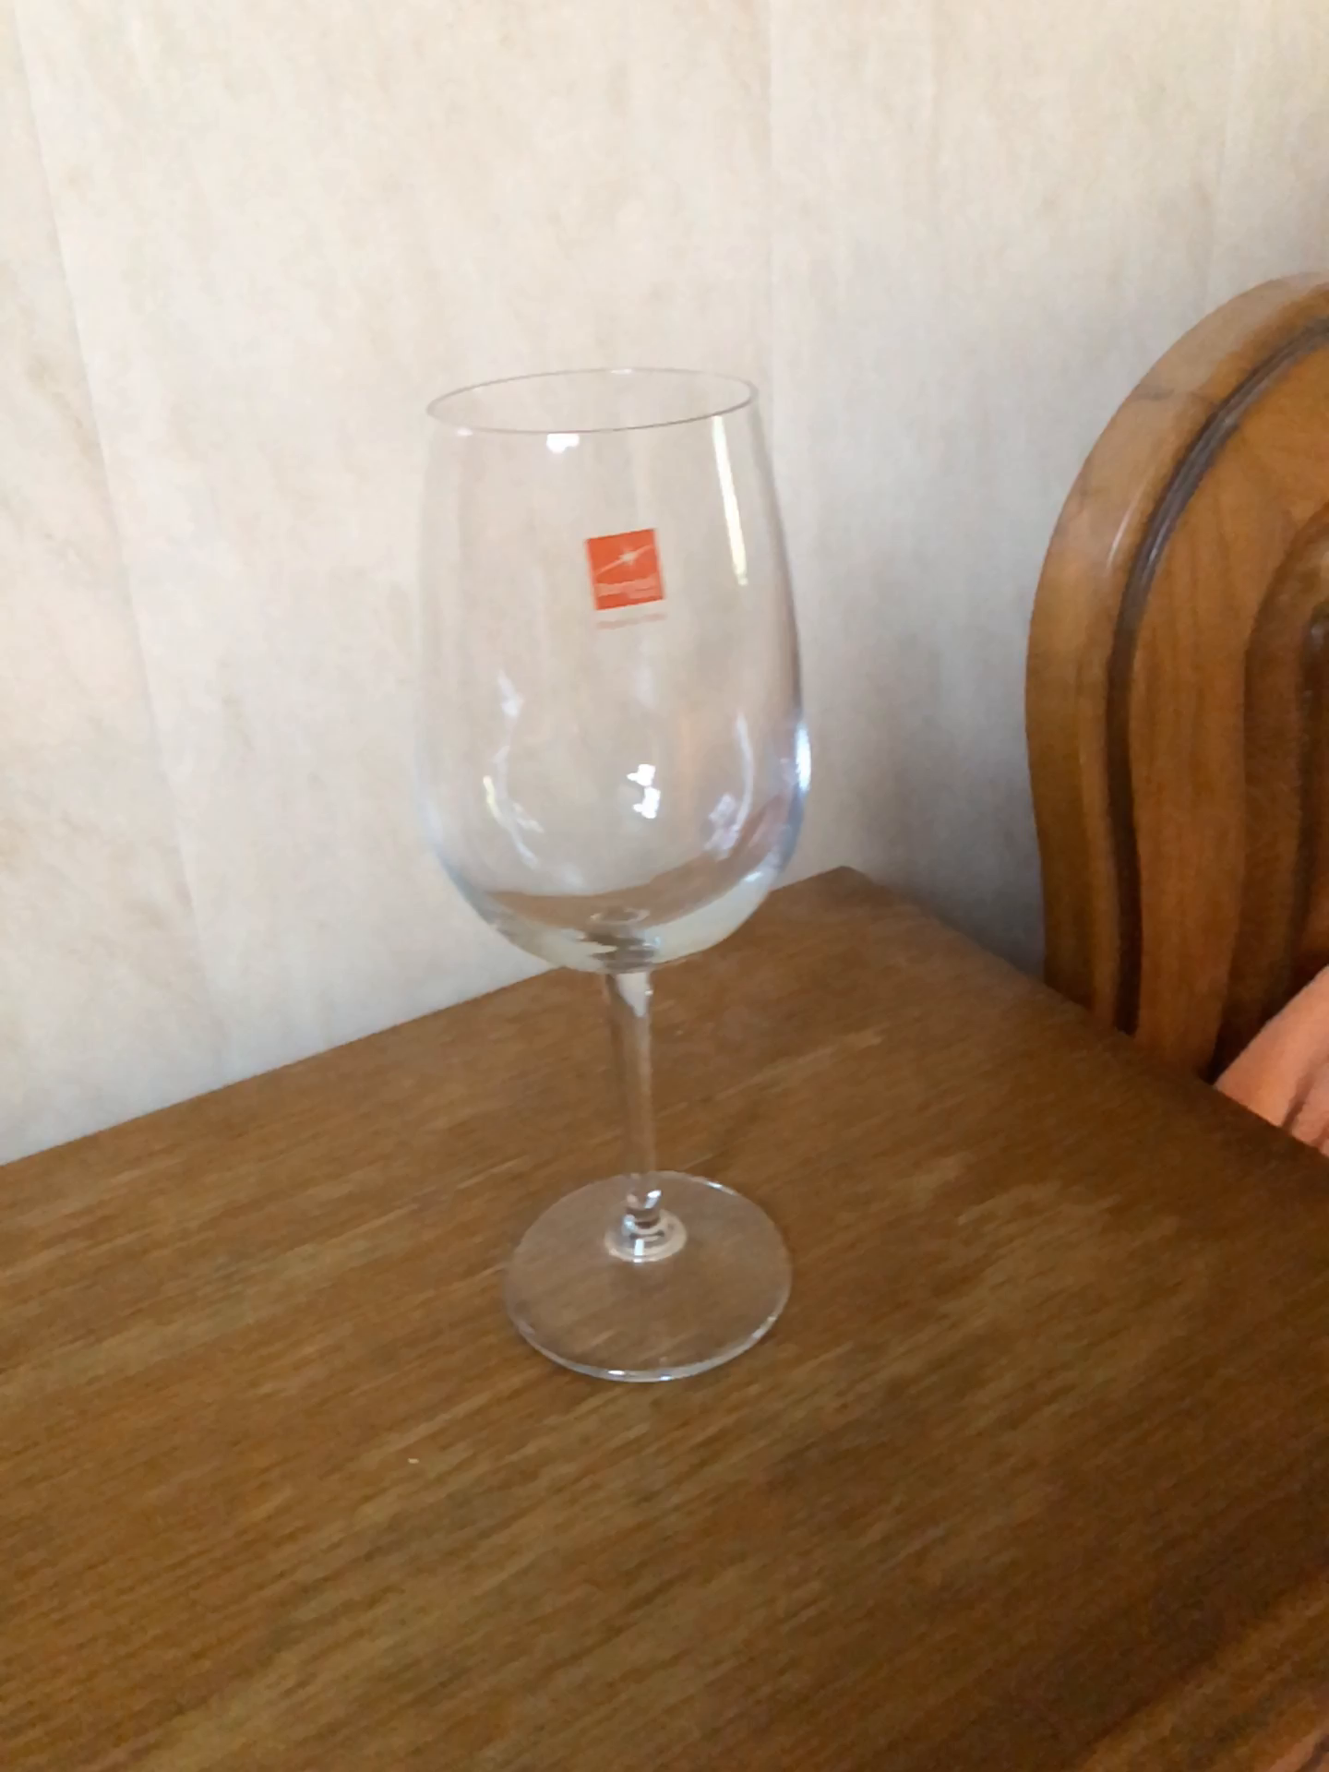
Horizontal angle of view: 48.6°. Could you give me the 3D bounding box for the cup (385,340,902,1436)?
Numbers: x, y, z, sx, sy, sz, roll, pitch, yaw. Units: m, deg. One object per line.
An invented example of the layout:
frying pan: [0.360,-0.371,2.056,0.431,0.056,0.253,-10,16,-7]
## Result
cup: [-0.006,0.000,0.348,0.090,0.229,0.100,-6,27,-8]
